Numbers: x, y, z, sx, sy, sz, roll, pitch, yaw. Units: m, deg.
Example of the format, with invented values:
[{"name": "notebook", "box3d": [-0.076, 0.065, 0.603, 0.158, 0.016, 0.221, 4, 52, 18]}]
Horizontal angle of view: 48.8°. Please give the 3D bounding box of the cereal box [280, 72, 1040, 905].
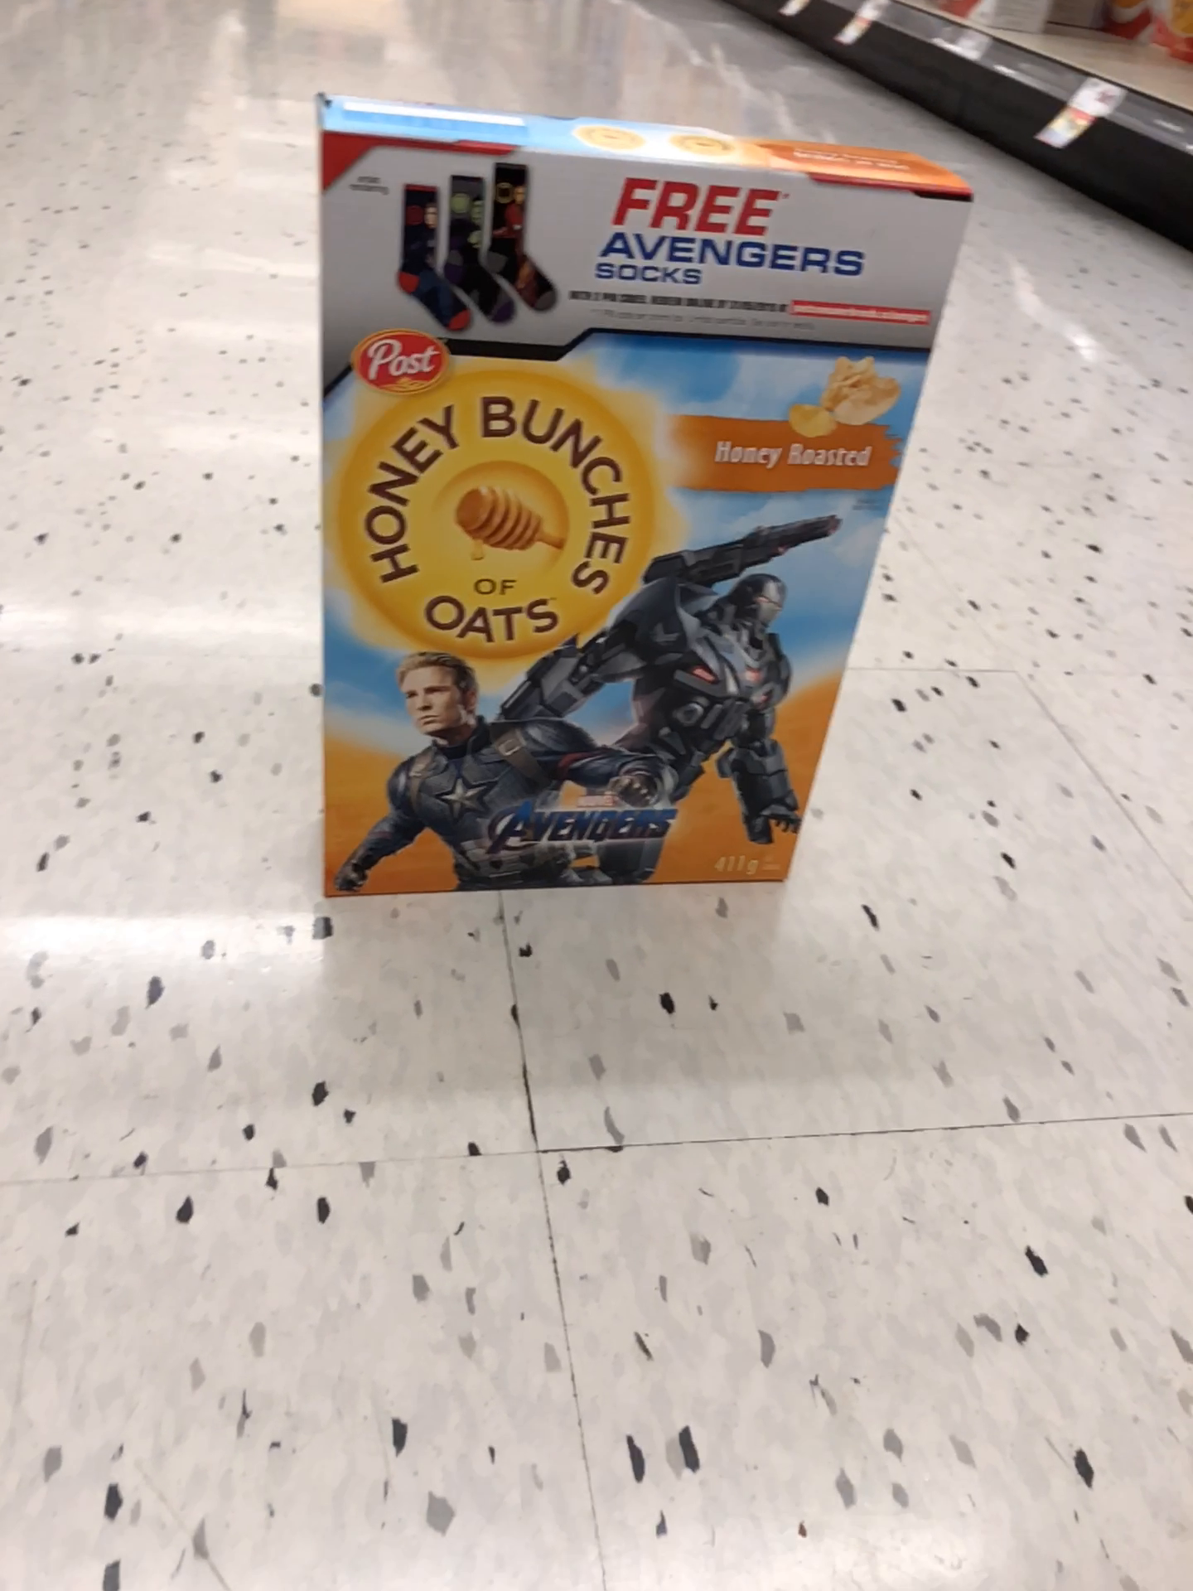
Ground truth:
[{"name": "cereal box", "box3d": [0.003, -0.085, 0.448, 0.210, 0.258, 0.060, -1, 36, -14]}]
